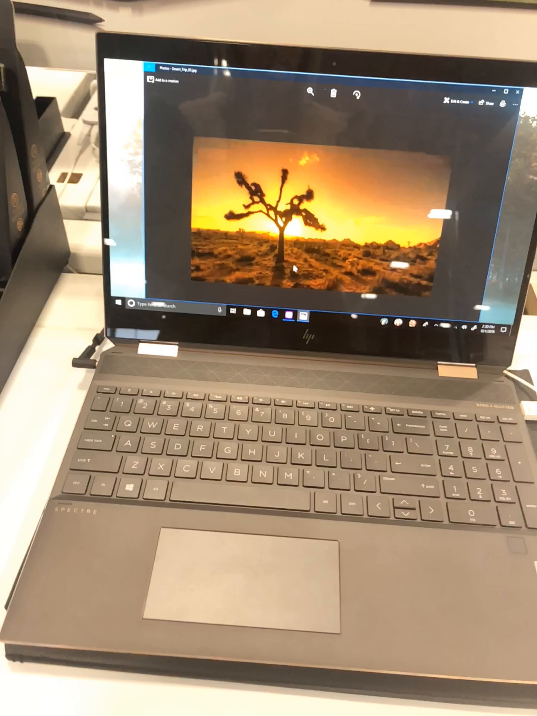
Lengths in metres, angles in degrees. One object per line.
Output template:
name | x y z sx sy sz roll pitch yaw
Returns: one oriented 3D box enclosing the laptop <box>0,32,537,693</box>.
laptop | 0.032 -0.023 0.389 0.348 0.209 0.360 4 47 0
